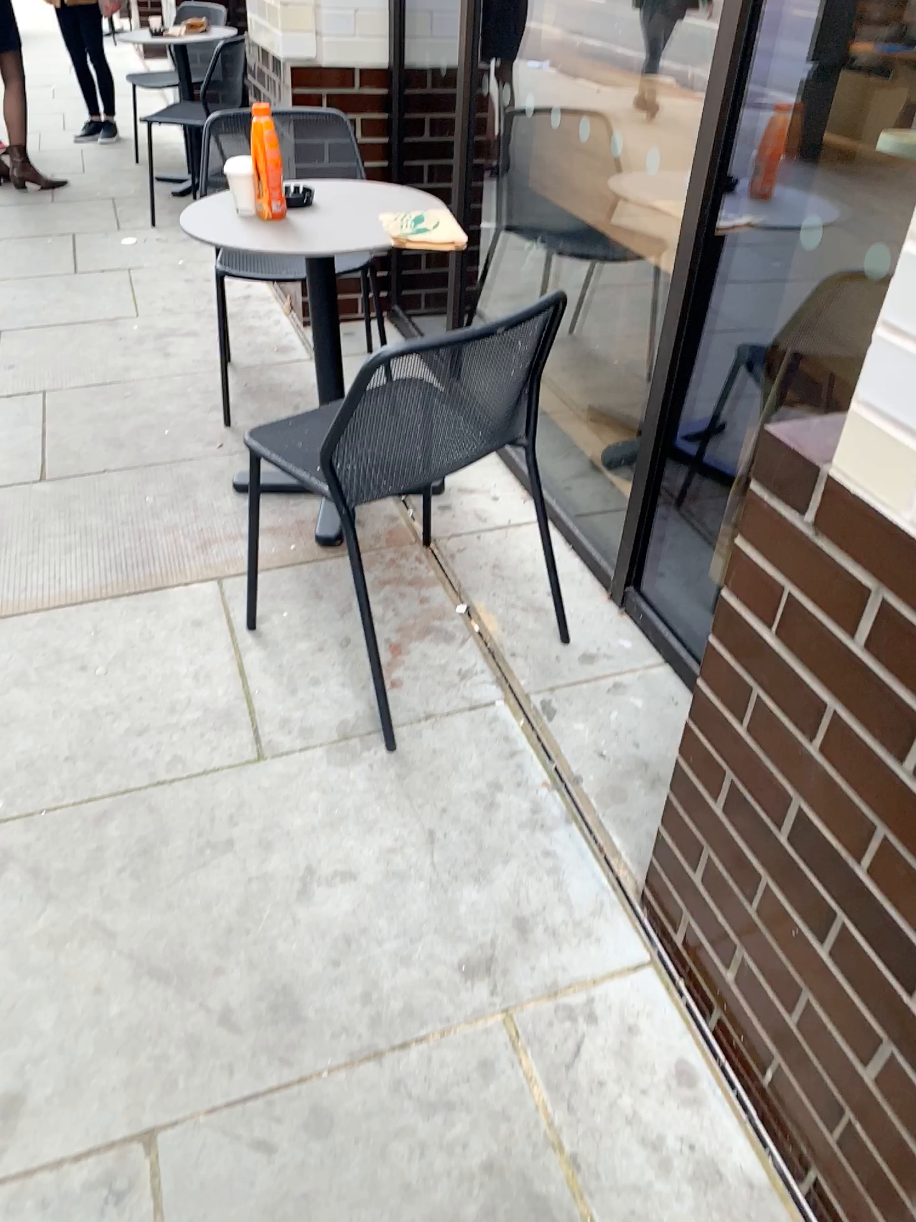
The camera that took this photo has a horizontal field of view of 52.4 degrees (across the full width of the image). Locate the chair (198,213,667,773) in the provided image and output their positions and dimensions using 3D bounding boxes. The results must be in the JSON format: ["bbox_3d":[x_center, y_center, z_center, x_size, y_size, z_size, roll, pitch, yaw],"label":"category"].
[{"bbox_3d":[-0.071,-0.255,1.819,0.592,0.797,0.543,-24,46,-33],"label":"chair"}]
